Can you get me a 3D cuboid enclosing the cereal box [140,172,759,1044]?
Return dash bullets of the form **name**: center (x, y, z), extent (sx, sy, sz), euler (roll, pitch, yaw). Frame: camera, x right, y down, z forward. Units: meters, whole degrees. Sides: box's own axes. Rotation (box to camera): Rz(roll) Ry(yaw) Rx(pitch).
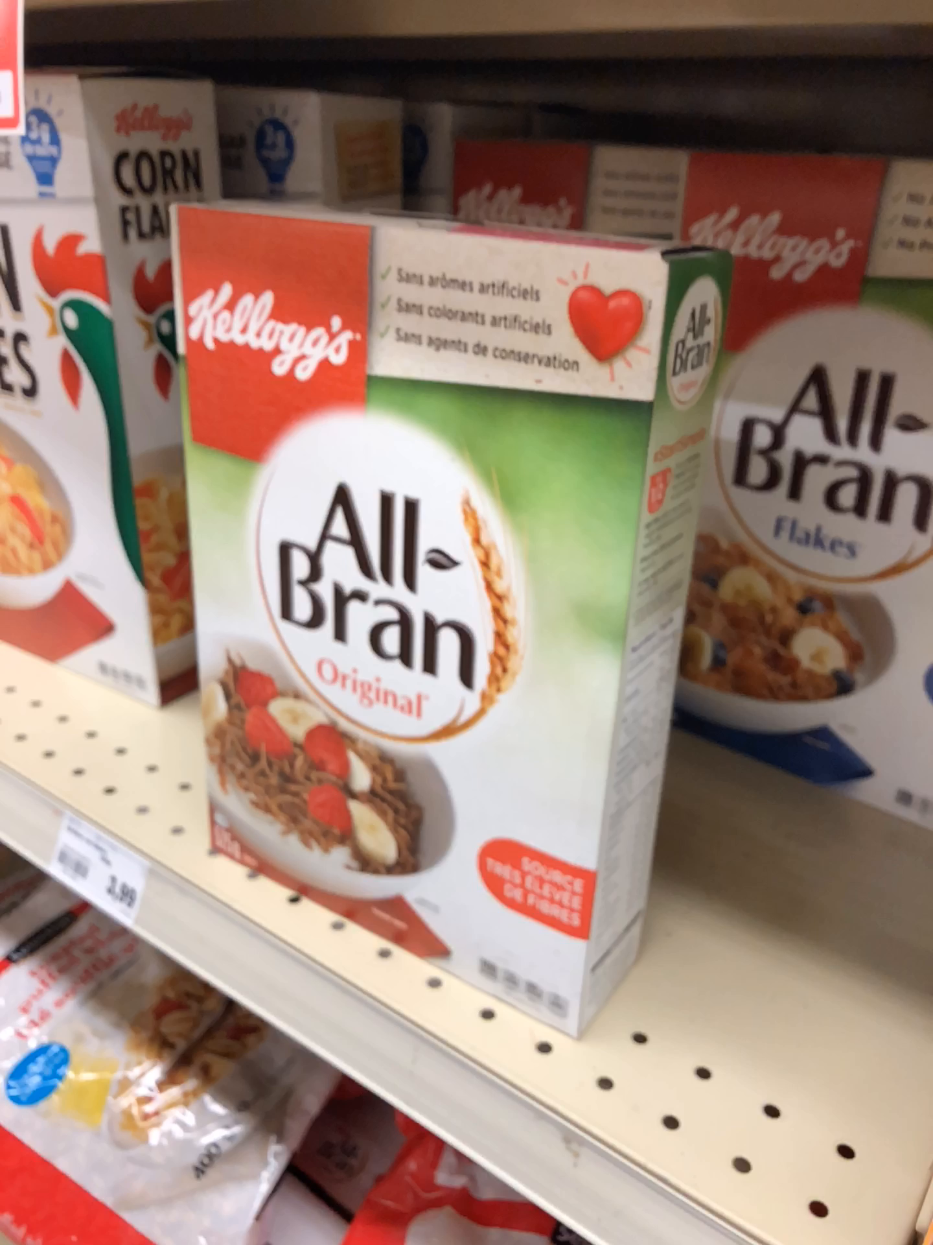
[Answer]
- **cereal box**: center (-0.015, -0.011, 0.390), extent (0.190, 0.278, 0.070), euler (17, 29, 30)
